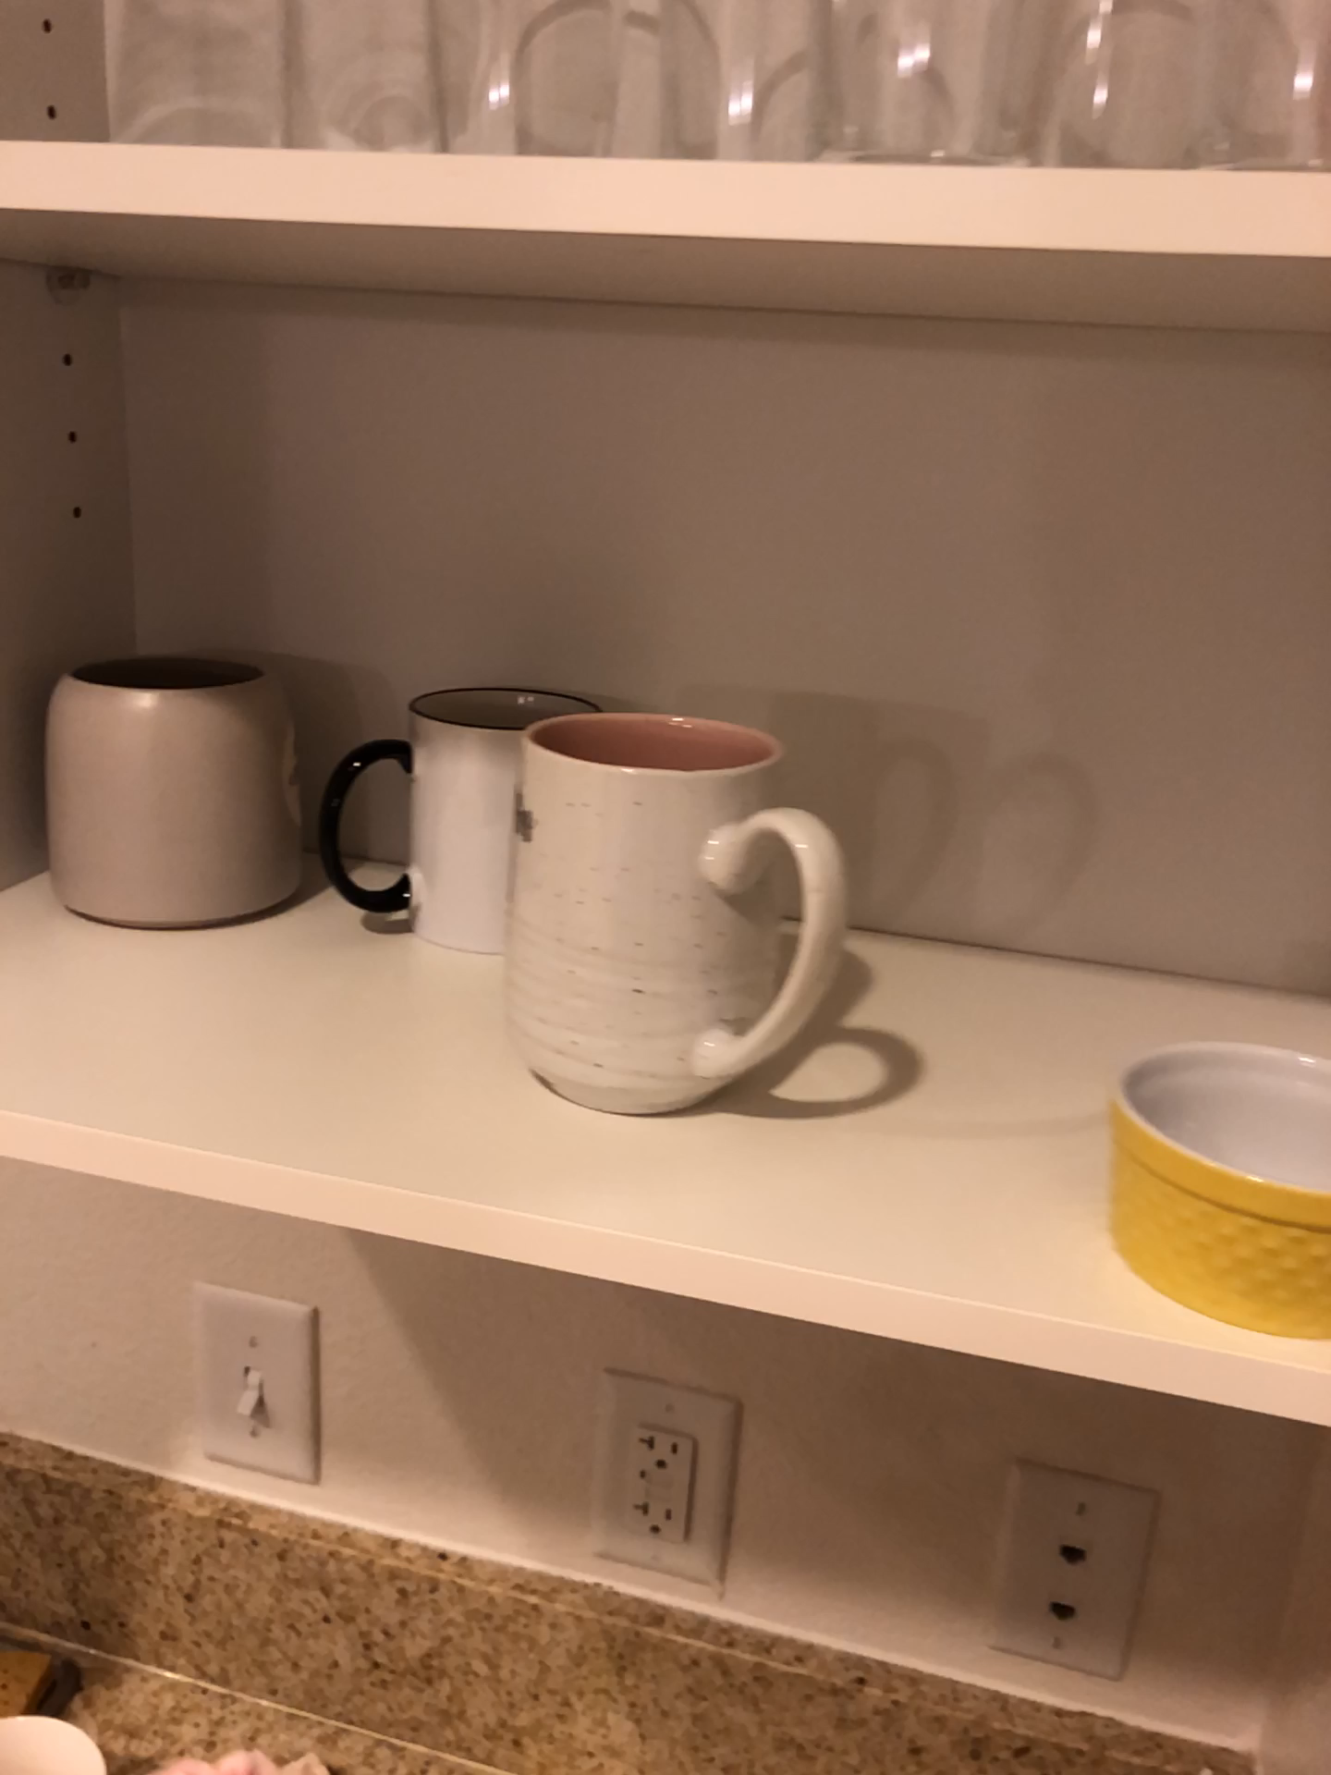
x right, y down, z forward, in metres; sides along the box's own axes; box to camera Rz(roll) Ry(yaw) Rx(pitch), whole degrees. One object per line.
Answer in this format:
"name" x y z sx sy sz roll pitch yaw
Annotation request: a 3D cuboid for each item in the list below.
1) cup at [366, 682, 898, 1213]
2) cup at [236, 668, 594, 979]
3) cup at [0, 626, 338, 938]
"cup" -0.017 0.007 0.451 0.090 0.110 0.140 -11 23 -38
"cup" -0.098 -0.030 0.563 0.110 0.090 0.090 -6 20 -26
"cup" -0.219 -0.052 0.626 0.110 0.090 0.151 6 18 7
